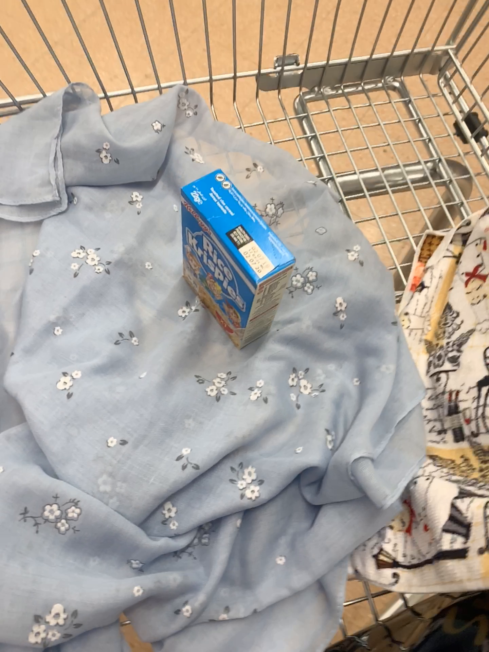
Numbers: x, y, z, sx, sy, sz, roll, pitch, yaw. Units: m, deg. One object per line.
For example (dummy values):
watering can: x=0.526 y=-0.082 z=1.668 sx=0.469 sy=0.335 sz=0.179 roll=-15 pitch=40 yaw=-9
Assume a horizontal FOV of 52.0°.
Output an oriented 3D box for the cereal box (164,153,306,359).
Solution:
cereal box: x=-0.012 y=-0.045 z=0.392 sx=0.040 sy=0.139 sz=0.100 roll=-35 pitch=74 yaw=-16
